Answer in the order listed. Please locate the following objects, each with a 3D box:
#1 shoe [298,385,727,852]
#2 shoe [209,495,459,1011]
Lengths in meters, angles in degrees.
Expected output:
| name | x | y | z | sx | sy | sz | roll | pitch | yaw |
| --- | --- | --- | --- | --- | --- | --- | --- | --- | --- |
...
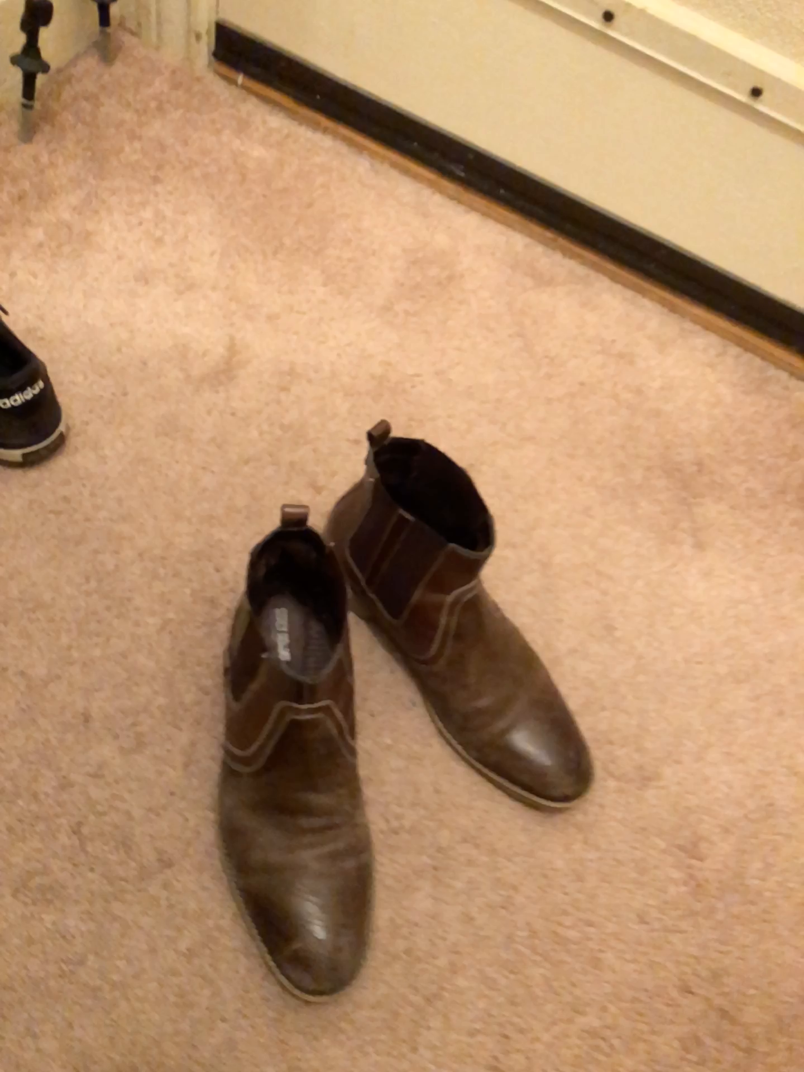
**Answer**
| name | x | y | z | sx | sy | sz | roll | pitch | yaw |
| --- | --- | --- | --- | --- | --- | --- | --- | --- | --- |
| shoe | 0.064 | 0.063 | 0.670 | 0.119 | 0.158 | 0.298 | -31 | 73 | -26 |
| shoe | -0.063 | 0.142 | 0.596 | 0.119 | 0.158 | 0.298 | -1 | 62 | -14 |
